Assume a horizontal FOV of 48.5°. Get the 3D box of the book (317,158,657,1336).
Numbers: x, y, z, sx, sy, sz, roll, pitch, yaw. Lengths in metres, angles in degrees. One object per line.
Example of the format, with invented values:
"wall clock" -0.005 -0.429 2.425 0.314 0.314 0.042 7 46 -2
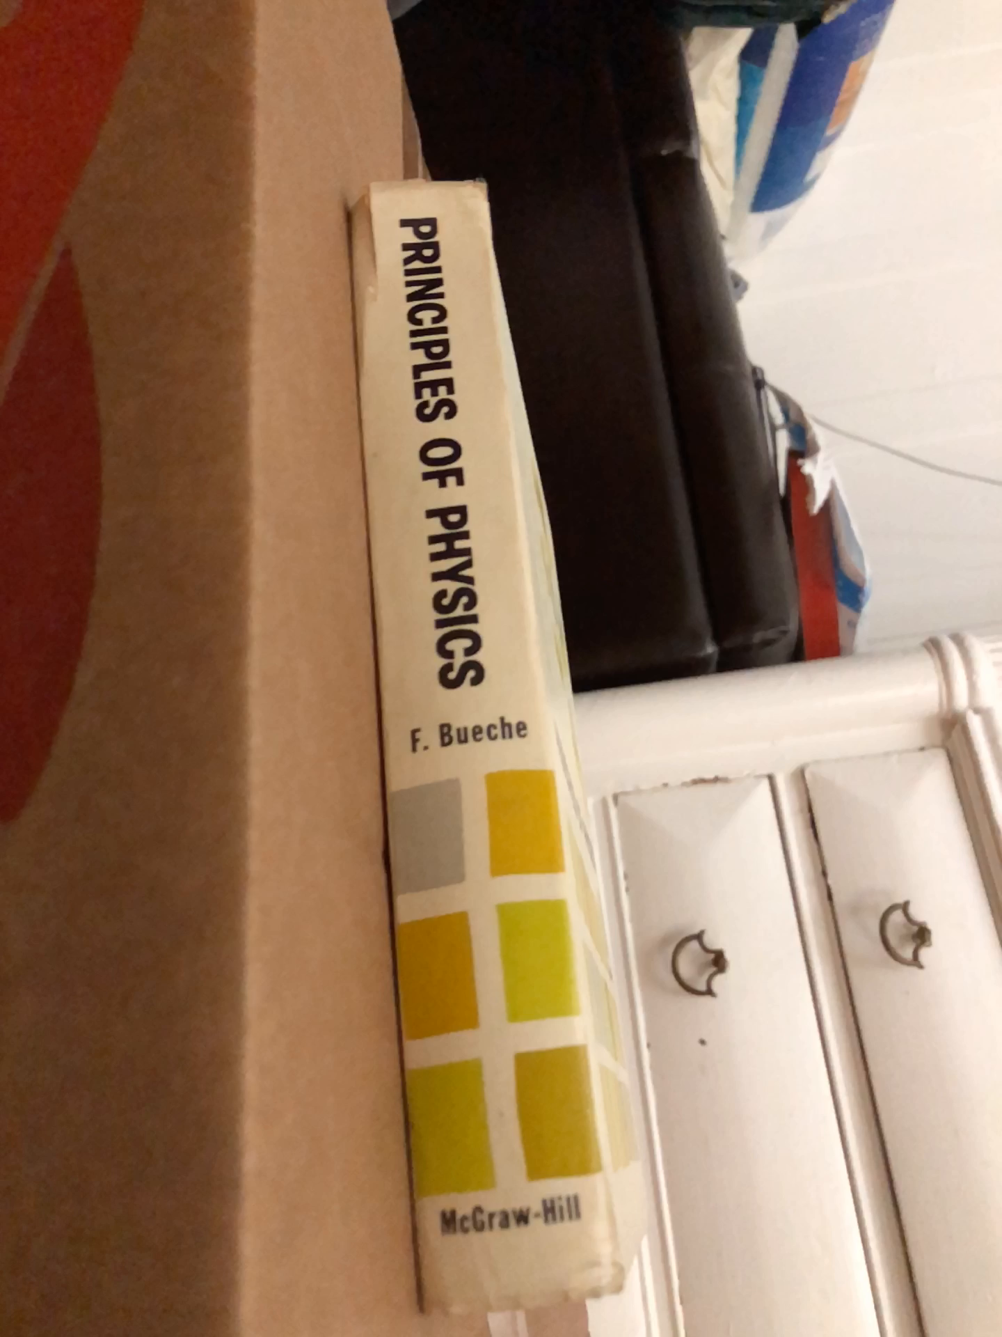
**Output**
"book" 0.000 0.027 0.303 0.180 0.040 0.250 68 14 -65
